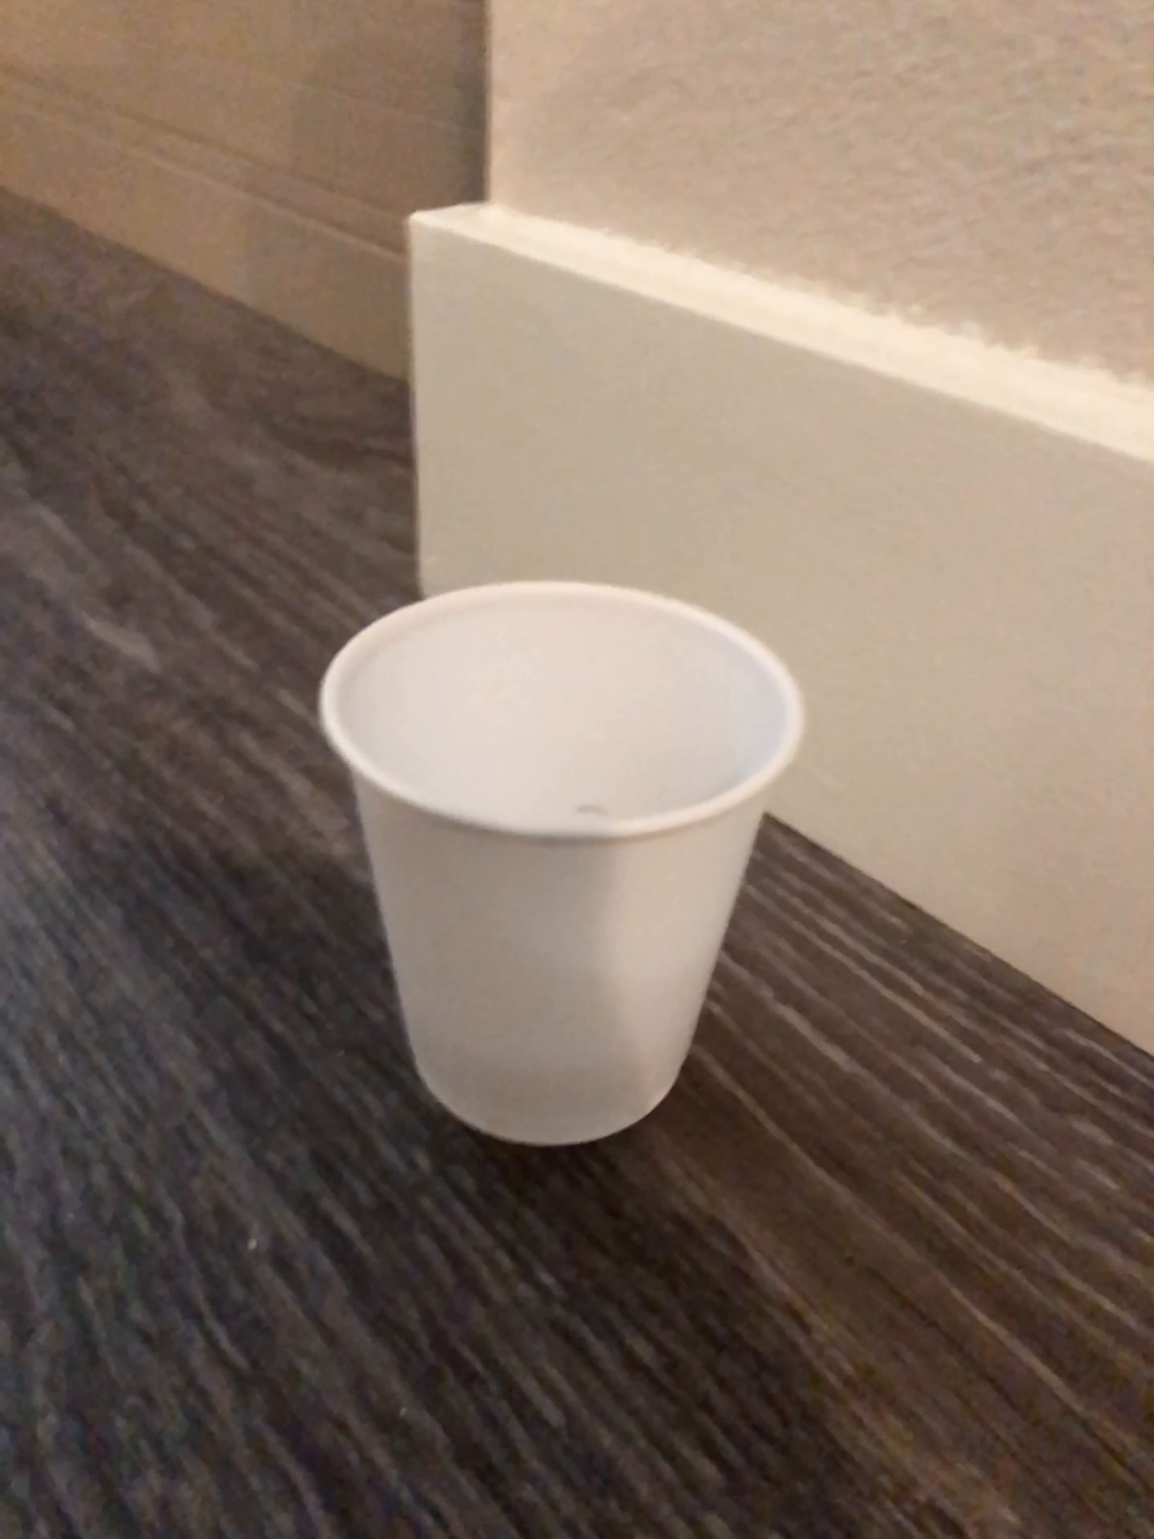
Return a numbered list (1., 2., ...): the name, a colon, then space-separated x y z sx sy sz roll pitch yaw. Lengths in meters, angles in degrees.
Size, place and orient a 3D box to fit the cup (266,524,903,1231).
1. cup: -0.004 0.010 0.171 0.060 0.060 0.060 2 34 -1
